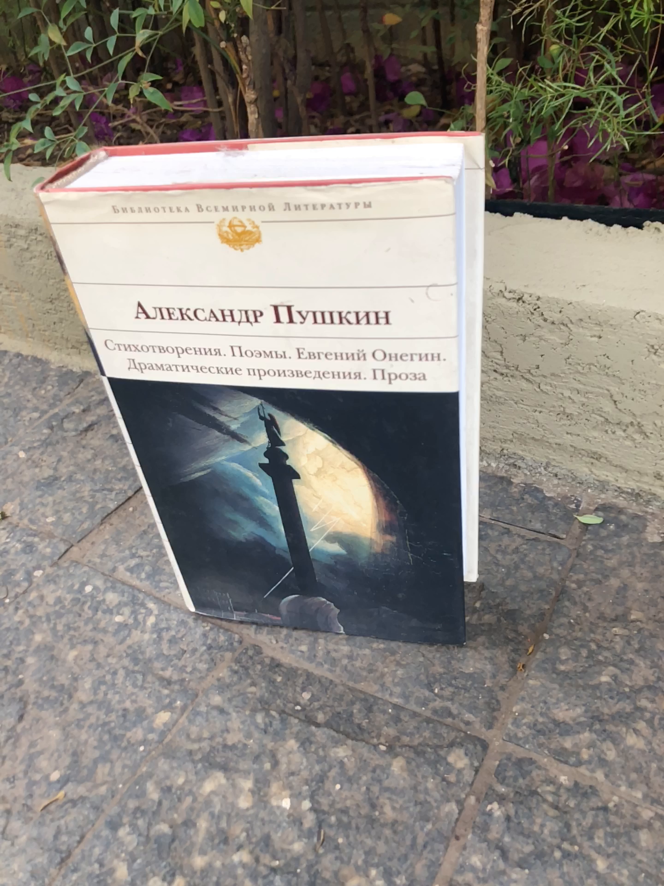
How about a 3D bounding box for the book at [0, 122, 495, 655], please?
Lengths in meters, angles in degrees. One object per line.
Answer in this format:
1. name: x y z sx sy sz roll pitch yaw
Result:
1. book: -0.018 -0.010 0.292 0.150 0.203 0.050 3 38 13
